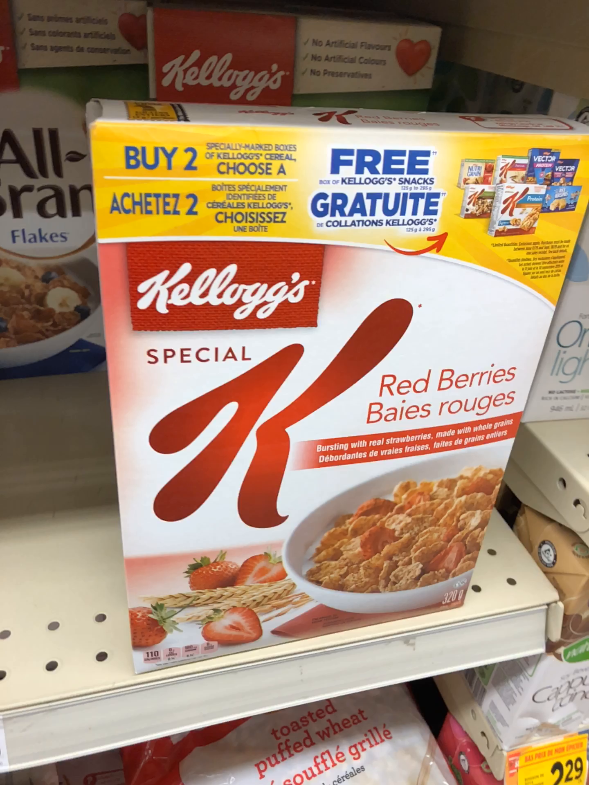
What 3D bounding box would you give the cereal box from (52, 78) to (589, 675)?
[{"bbox_3d":[0.010,0.006,0.286,0.190,0.248,0.050,-6,35,-16],"label":"cereal box"}]
